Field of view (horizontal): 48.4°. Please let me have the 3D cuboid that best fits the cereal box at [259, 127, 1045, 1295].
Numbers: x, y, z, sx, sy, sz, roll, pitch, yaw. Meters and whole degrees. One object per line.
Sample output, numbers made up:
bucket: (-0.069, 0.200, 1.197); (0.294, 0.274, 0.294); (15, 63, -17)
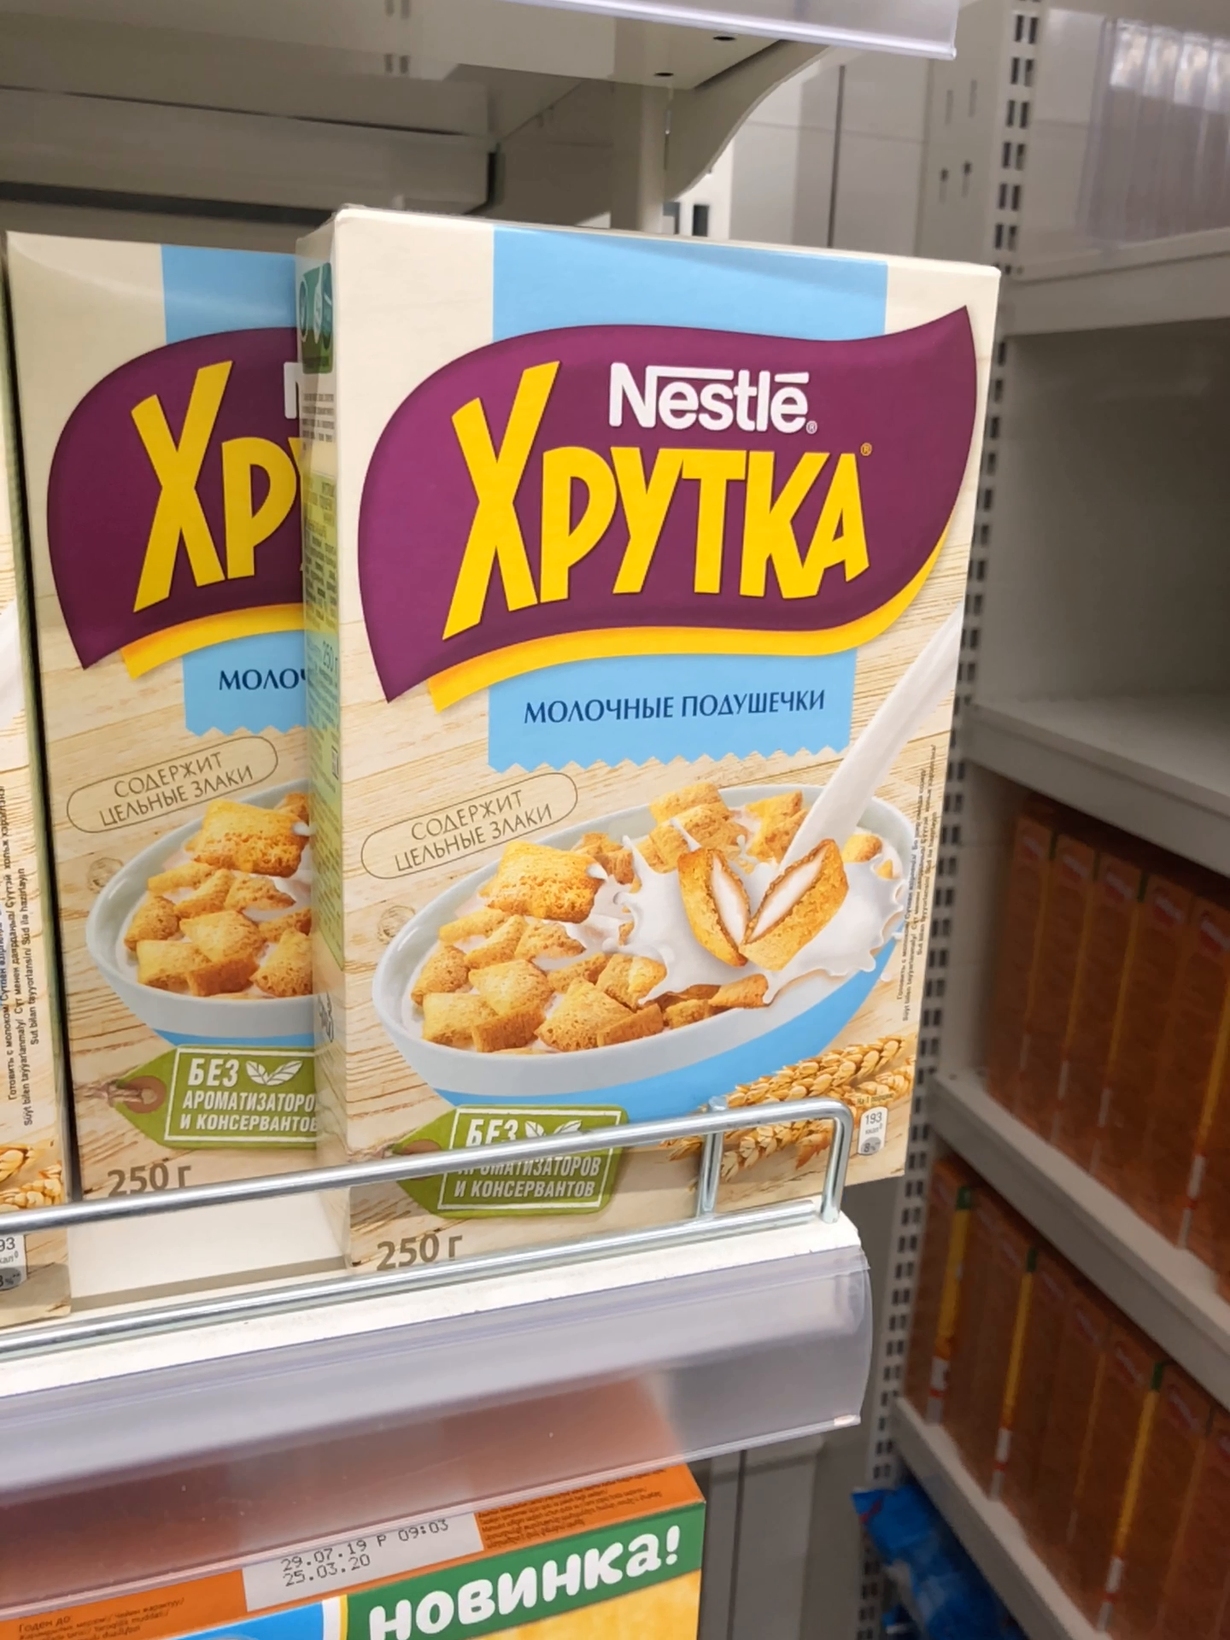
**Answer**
cereal box: (0.005, -0.020, 0.303); (0.150, 0.219, 0.050); (-4, 17, -22)
